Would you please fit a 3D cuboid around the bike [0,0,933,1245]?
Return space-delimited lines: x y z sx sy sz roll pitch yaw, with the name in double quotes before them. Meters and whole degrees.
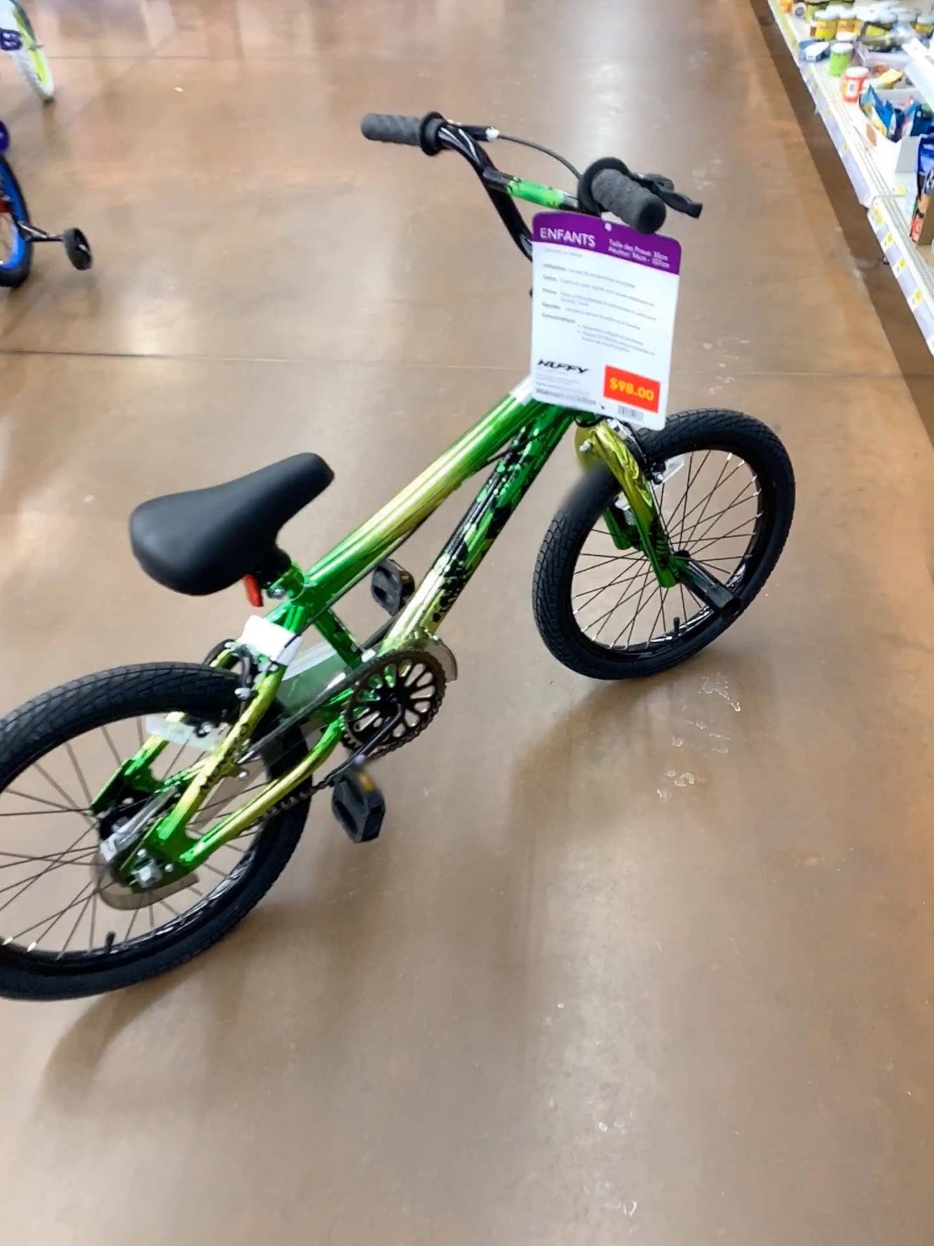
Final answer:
"bike" 0.048 -0.088 1.122 1.407 1.034 0.720 -29 48 -17
